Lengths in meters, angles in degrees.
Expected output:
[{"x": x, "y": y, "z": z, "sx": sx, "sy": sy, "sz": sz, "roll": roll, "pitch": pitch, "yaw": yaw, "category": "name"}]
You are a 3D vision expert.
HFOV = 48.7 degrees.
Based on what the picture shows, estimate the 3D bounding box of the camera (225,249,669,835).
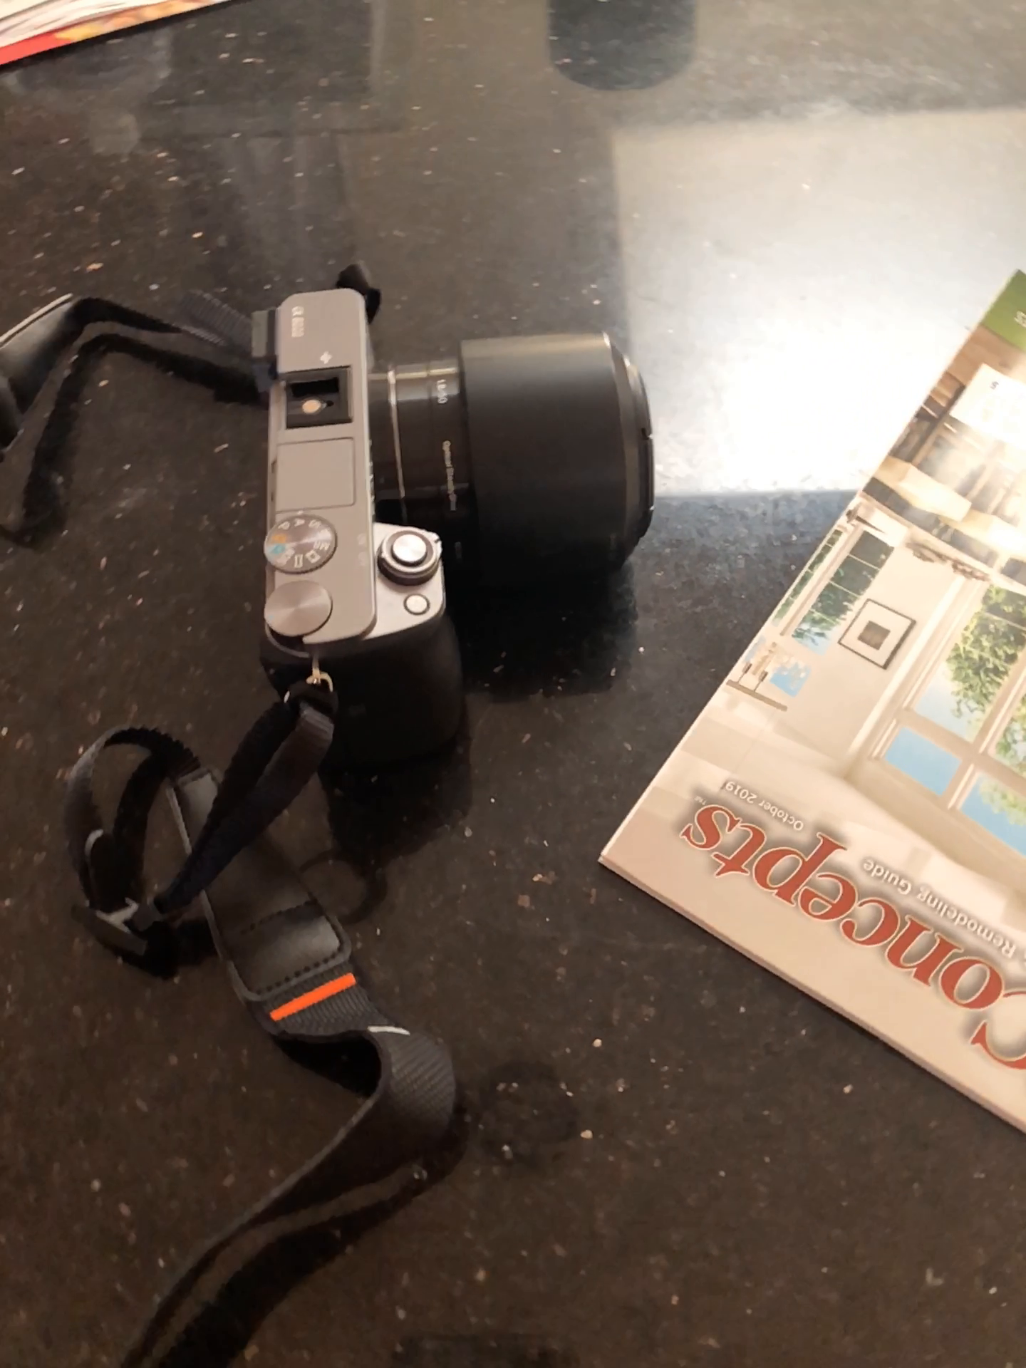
[{"x": -0.018, "y": -0.038, "z": 0.328, "sx": 0.099, "sy": 0.100, "sz": 0.127, "roll": -5, "pitch": 60, "yaw": -1, "category": "camera"}]
